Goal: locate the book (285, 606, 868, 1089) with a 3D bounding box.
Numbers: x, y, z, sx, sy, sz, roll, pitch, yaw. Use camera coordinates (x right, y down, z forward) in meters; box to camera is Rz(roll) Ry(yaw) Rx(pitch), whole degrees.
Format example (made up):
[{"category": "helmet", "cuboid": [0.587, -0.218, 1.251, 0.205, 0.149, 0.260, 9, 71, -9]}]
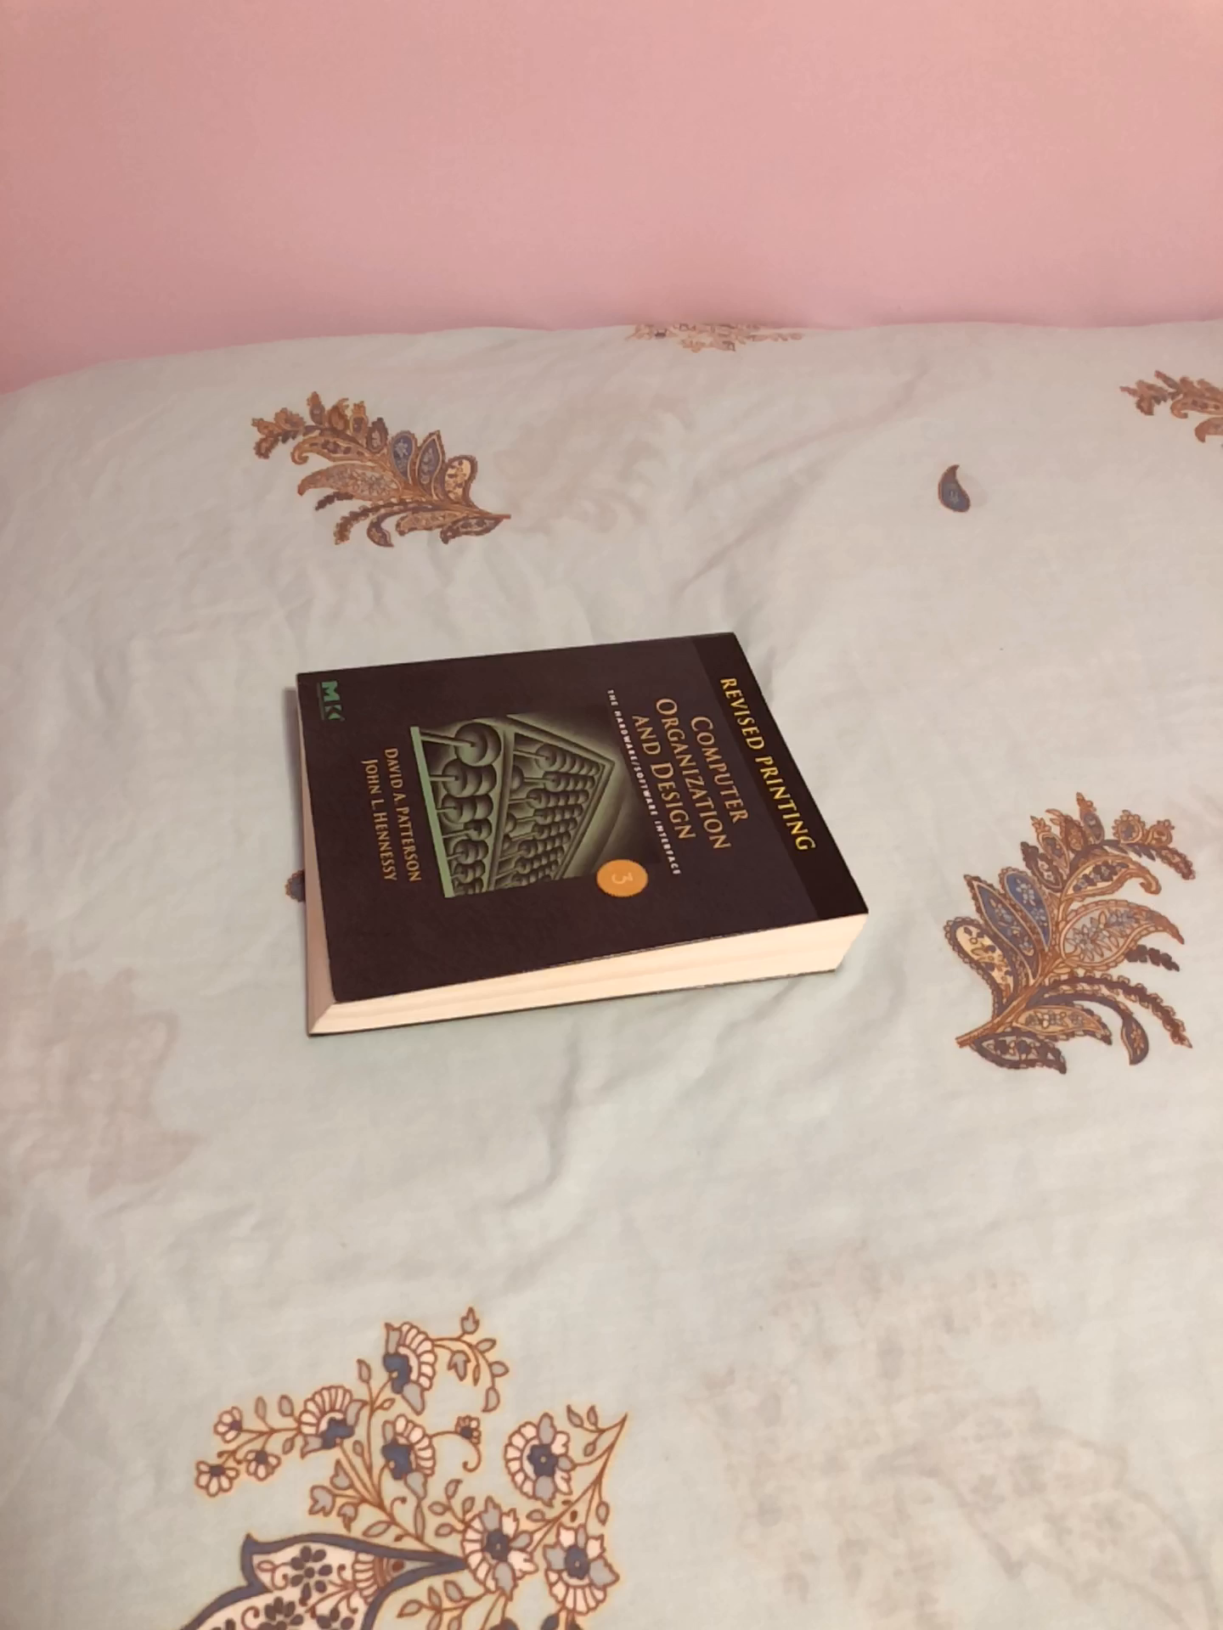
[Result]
[{"category": "book", "cuboid": [-0.027, 0.004, 0.632, 0.225, 0.073, 0.202, -7, 49, -12]}]
